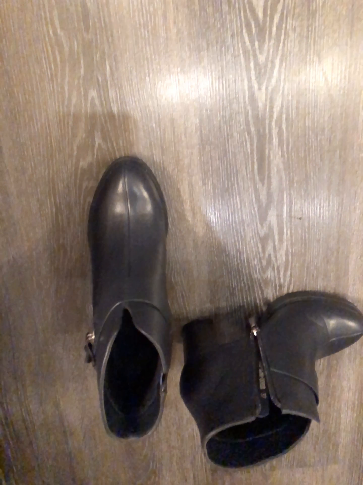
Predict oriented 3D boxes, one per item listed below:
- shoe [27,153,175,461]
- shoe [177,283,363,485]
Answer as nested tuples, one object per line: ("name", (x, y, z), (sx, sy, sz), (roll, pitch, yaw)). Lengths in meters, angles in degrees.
("shoe", (-0.056, 0.043, 0.382), (0.090, 0.180, 0.230), (-2, 109, -2))
("shoe", (0.116, 0.134, 0.429), (0.230, 0.200, 0.090), (-4, 109, -1))
